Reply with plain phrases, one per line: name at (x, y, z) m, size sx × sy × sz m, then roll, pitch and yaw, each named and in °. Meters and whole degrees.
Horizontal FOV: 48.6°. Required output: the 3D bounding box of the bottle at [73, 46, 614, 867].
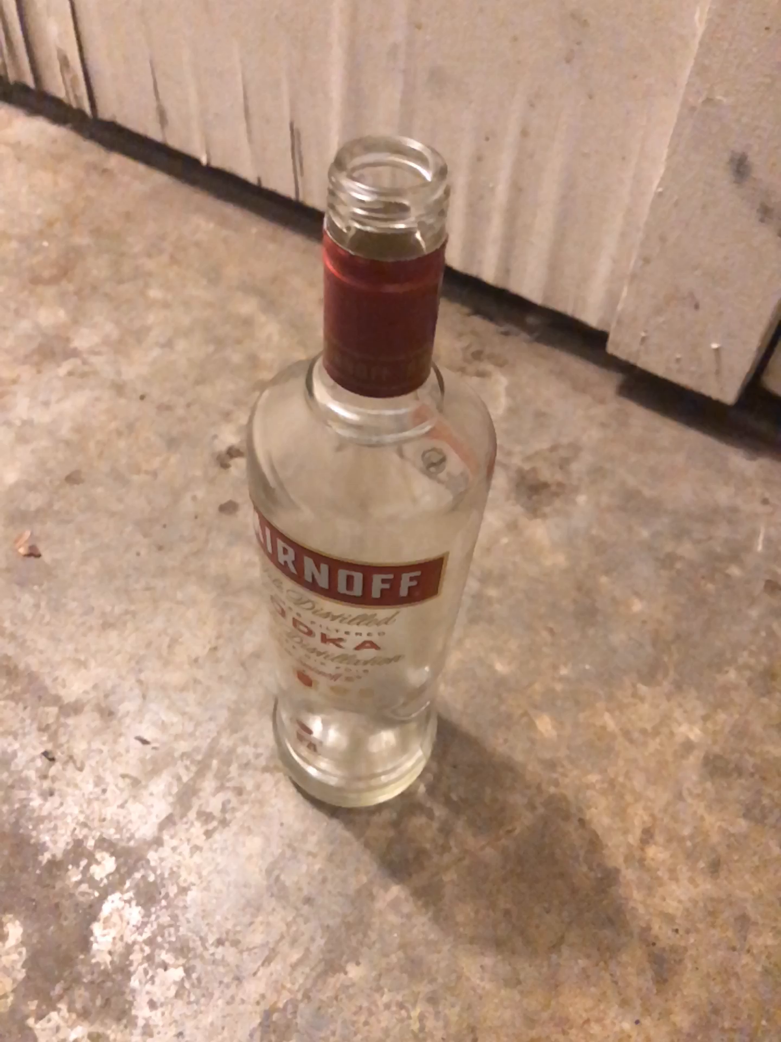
bottle at (-0.015, 0.015, 0.294) m, size 0.080 × 0.288 × 0.080 m, roll 1°, pitch 52°, yaw -2°
